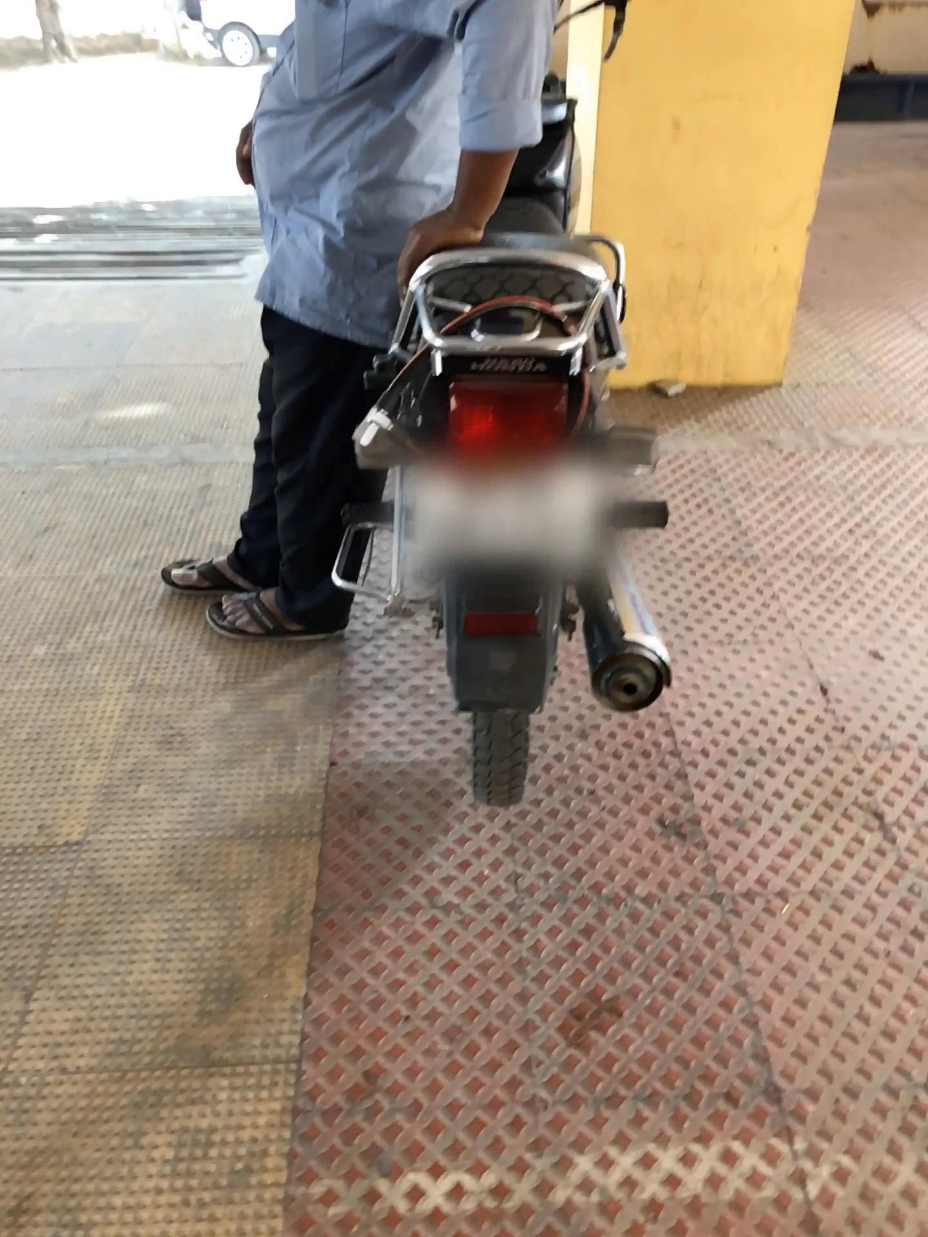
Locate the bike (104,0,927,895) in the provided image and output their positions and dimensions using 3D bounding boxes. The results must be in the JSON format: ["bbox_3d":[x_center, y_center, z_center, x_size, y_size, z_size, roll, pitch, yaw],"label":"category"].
[{"bbox_3d":[0.001,-0.562,1.797,0.677,1.036,1.687,-2,38,-1],"label":"bike"}]
